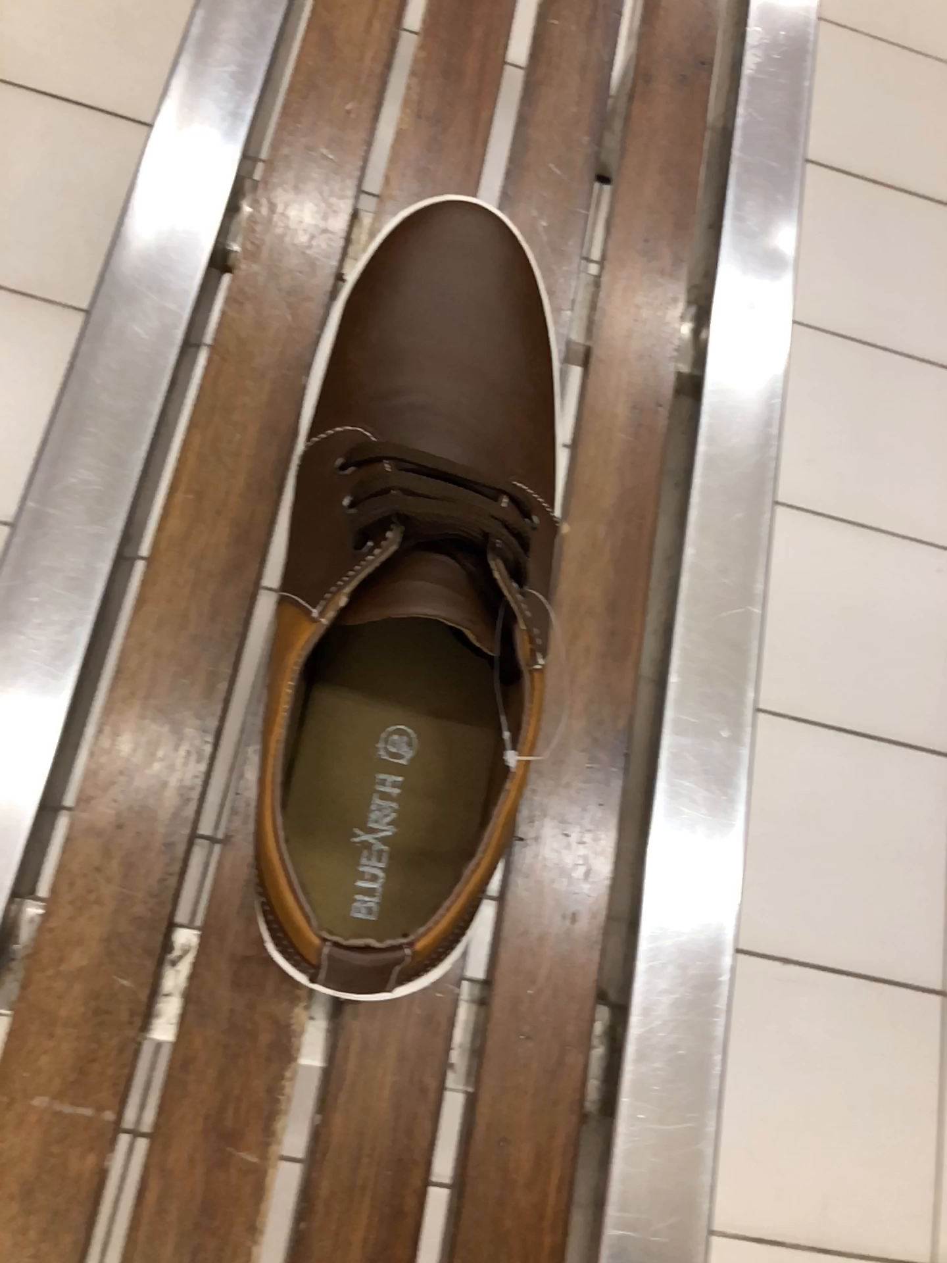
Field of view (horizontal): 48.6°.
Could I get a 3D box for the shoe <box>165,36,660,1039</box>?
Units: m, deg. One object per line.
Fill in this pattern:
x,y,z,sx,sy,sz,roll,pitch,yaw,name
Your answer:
-0.013,-0.037,0.354,0.100,0.080,0.311,12,71,-8,shoe
